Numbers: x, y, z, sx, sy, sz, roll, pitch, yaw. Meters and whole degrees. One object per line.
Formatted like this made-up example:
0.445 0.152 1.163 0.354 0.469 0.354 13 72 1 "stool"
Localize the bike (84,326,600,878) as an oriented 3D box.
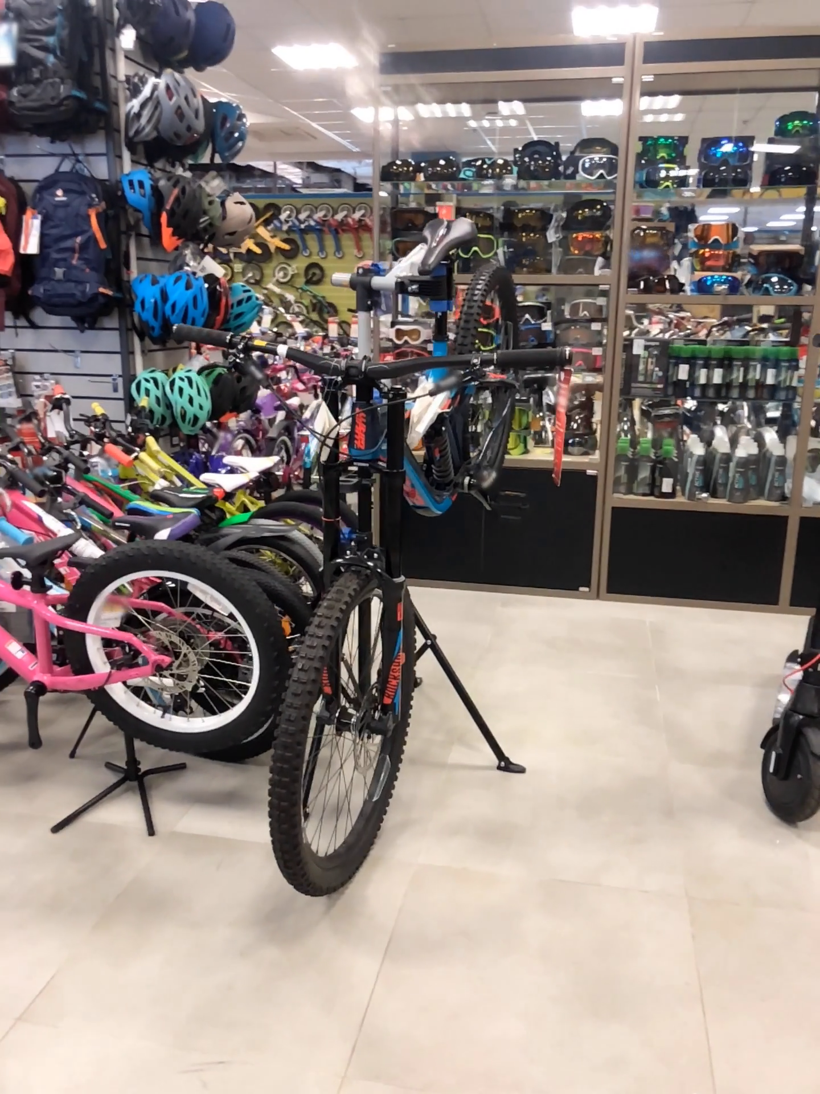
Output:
-0.037 -0.054 2.131 0.659 0.181 1.531 8 42 19 "bike"
